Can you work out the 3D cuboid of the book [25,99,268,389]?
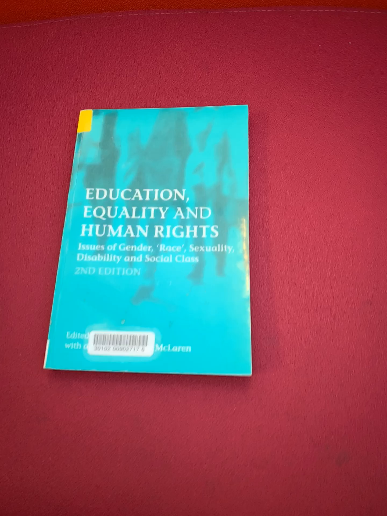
[{"bbox_3d":[-0.032,-0.021,0.343,0.180,0.030,0.251,0,71,5],"label":"book"}]
